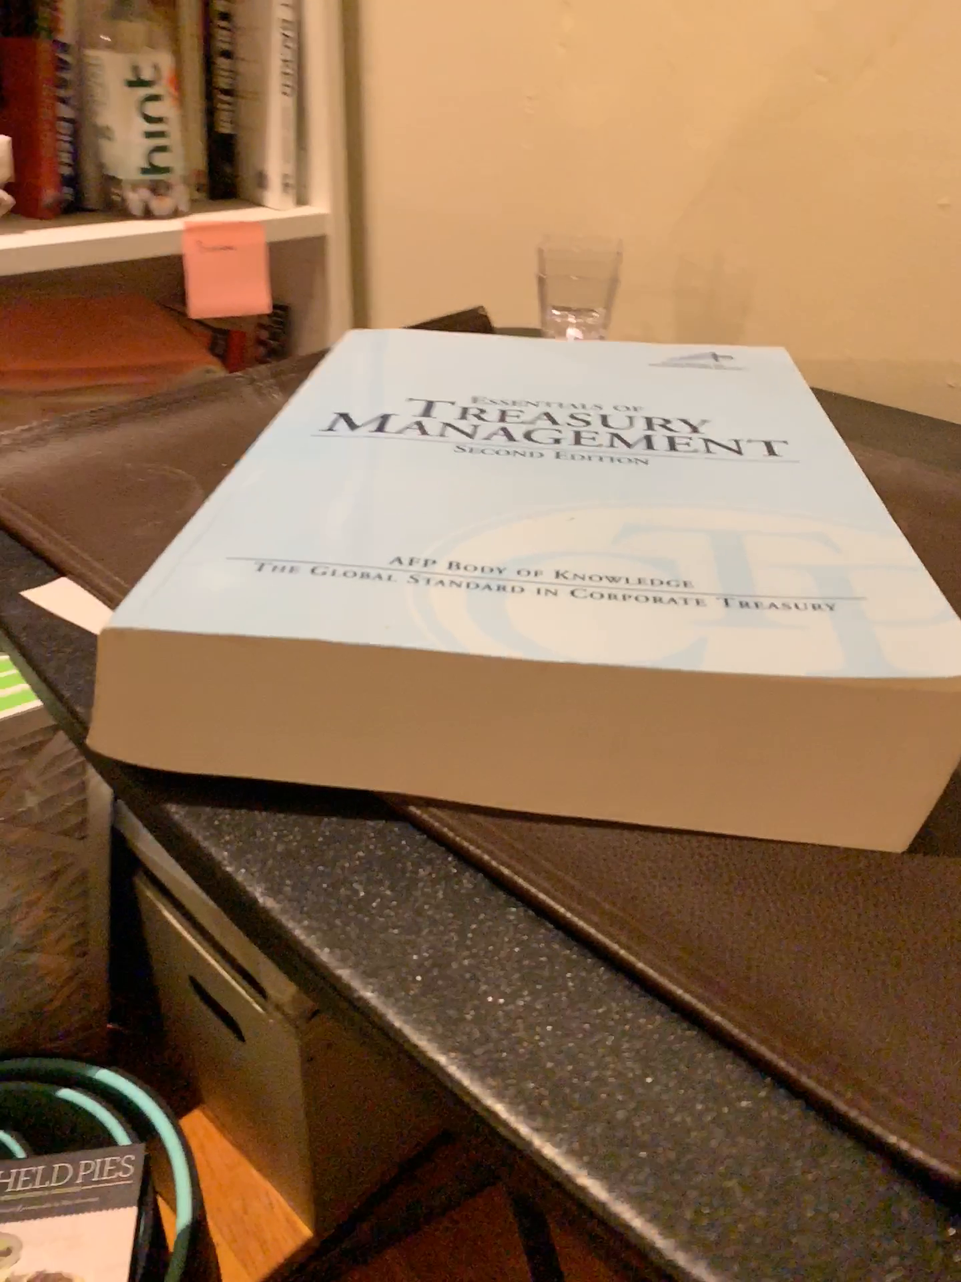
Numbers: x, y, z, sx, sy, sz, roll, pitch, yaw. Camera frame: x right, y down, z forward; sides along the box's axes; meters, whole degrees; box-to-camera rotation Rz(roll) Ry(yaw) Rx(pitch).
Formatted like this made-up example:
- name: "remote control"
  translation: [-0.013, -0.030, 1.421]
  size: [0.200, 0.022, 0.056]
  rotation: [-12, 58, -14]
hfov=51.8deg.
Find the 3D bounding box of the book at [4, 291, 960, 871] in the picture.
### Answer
- name: "book"
  translation: [0.018, -0.058, 0.359]
  size: [0.220, 0.060, 0.302]
  rotation: [5, 32, 5]
